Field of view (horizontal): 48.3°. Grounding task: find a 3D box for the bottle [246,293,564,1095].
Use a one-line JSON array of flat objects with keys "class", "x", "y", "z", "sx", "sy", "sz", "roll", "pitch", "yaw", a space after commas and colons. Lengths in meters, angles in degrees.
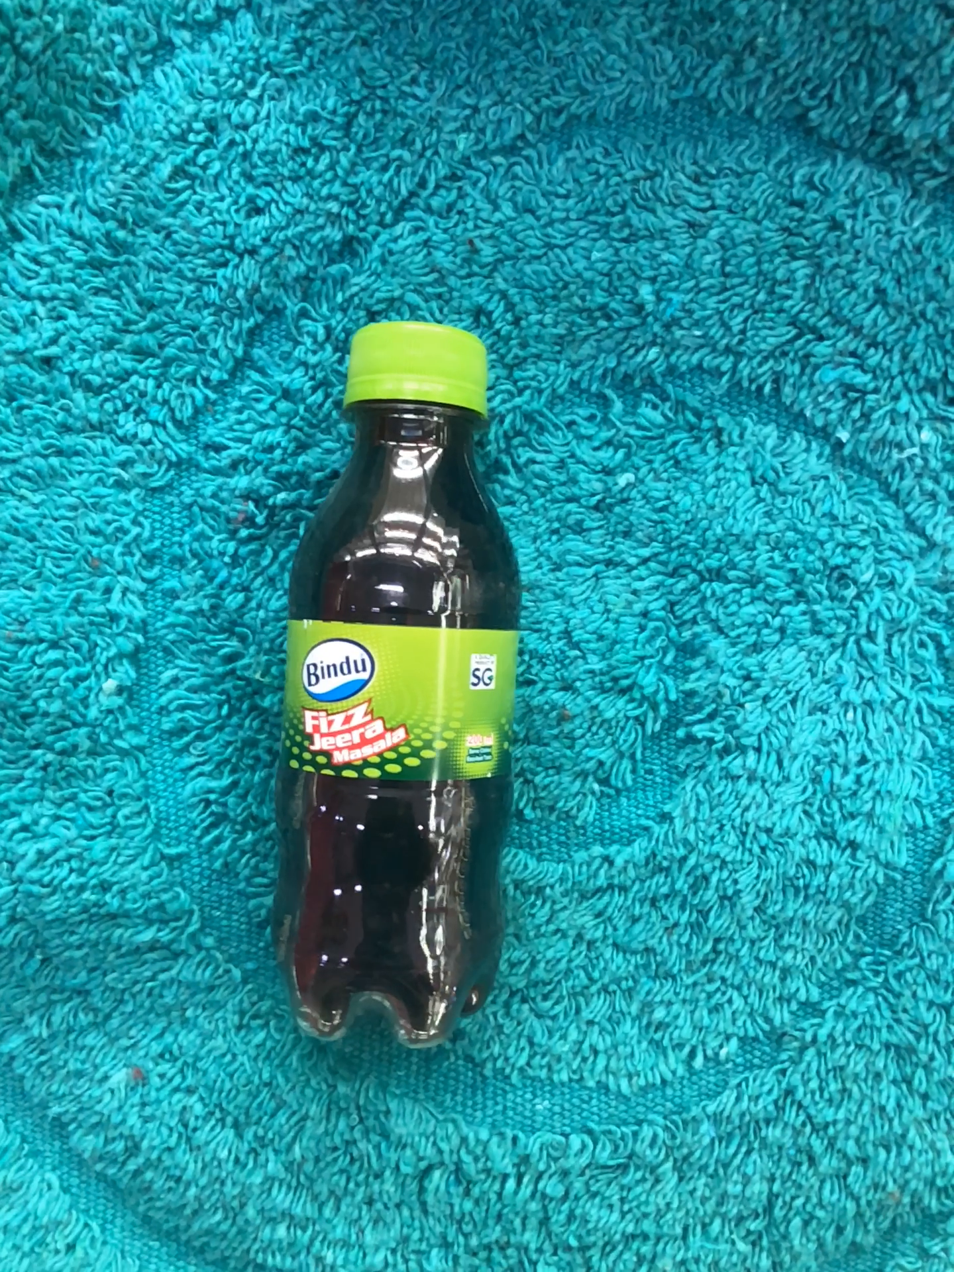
[{"class": "bottle", "x": -0.013, "y": 0.010, "z": 0.226, "sx": 0.050, "sy": 0.050, "sz": 0.150, "roll": 4, "pitch": 95, "yaw": 11}]
